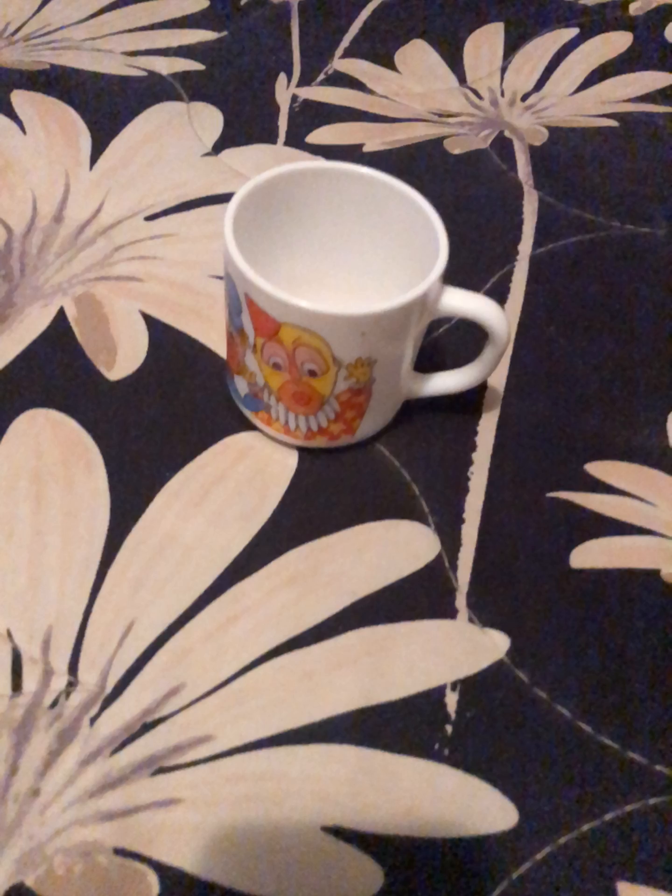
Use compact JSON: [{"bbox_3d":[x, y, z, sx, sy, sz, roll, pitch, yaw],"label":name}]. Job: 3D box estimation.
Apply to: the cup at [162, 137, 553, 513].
[{"bbox_3d":[0.009,-0.048,0.279,0.108,0.077,0.085,20,54,12],"label":"cup"}]
